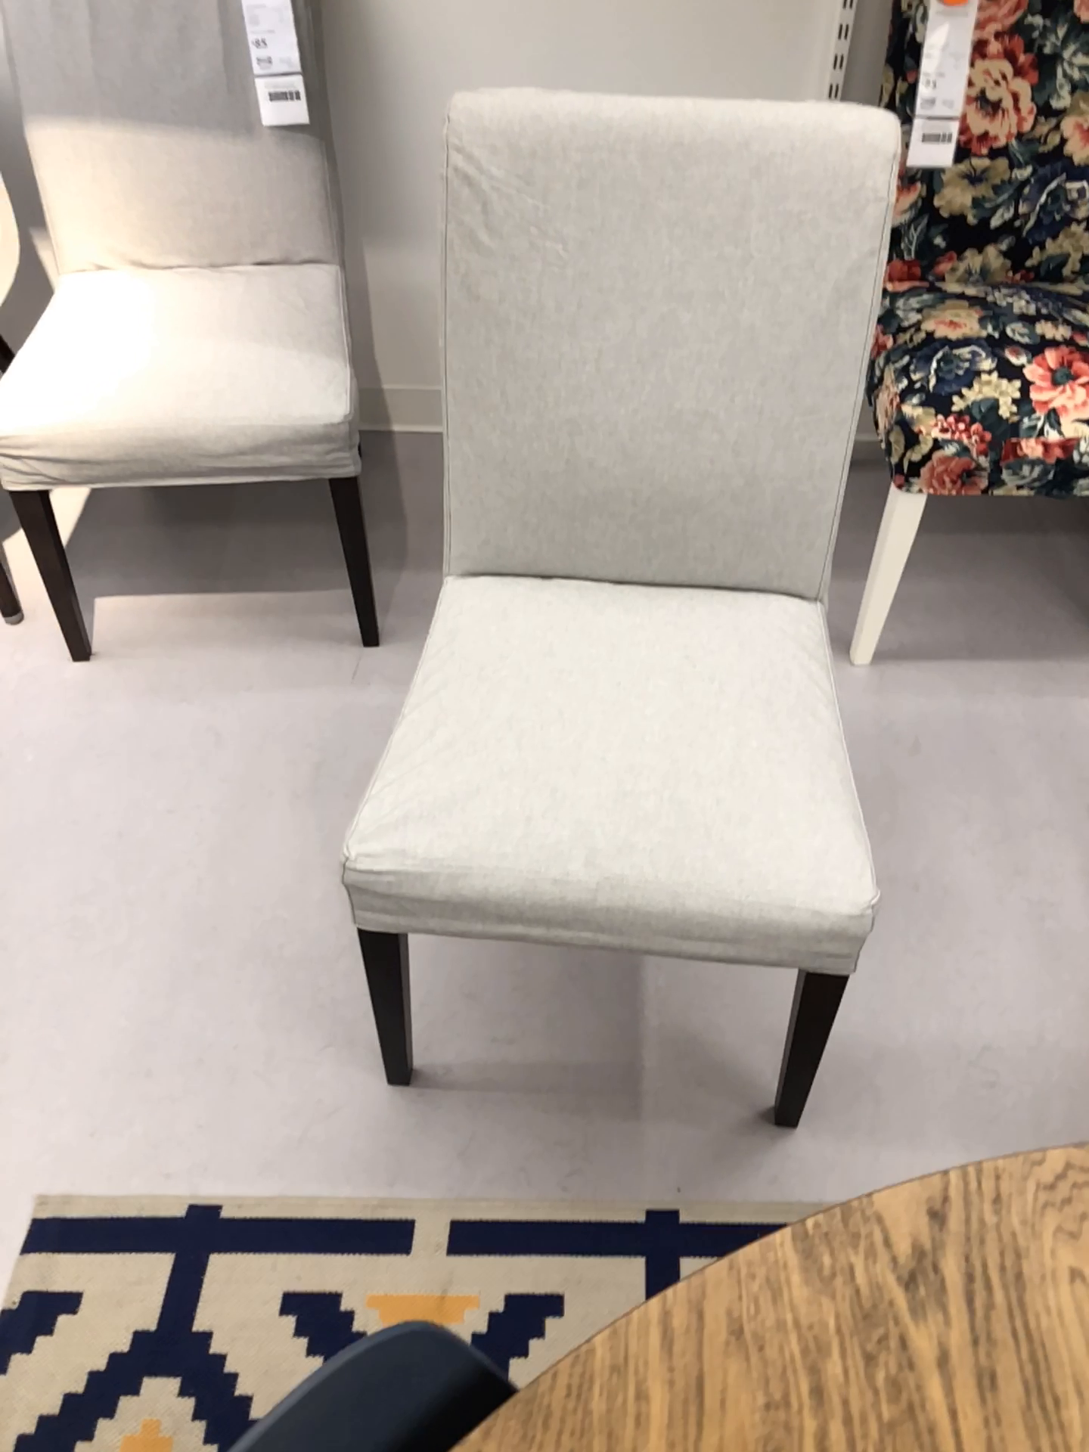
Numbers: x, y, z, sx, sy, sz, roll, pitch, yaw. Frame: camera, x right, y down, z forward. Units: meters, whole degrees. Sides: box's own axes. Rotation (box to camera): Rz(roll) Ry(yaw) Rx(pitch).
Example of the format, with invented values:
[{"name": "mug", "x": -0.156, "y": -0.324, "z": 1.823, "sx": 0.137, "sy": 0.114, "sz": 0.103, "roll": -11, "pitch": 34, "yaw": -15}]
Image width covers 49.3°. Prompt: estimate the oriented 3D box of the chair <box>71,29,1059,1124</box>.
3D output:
[{"name": "chair", "x": 0.032, "y": -0.118, "z": 1.202, "sx": 0.560, "sy": 0.855, "sz": 0.644, "roll": 4, "pitch": 47, "yaw": 4}]
